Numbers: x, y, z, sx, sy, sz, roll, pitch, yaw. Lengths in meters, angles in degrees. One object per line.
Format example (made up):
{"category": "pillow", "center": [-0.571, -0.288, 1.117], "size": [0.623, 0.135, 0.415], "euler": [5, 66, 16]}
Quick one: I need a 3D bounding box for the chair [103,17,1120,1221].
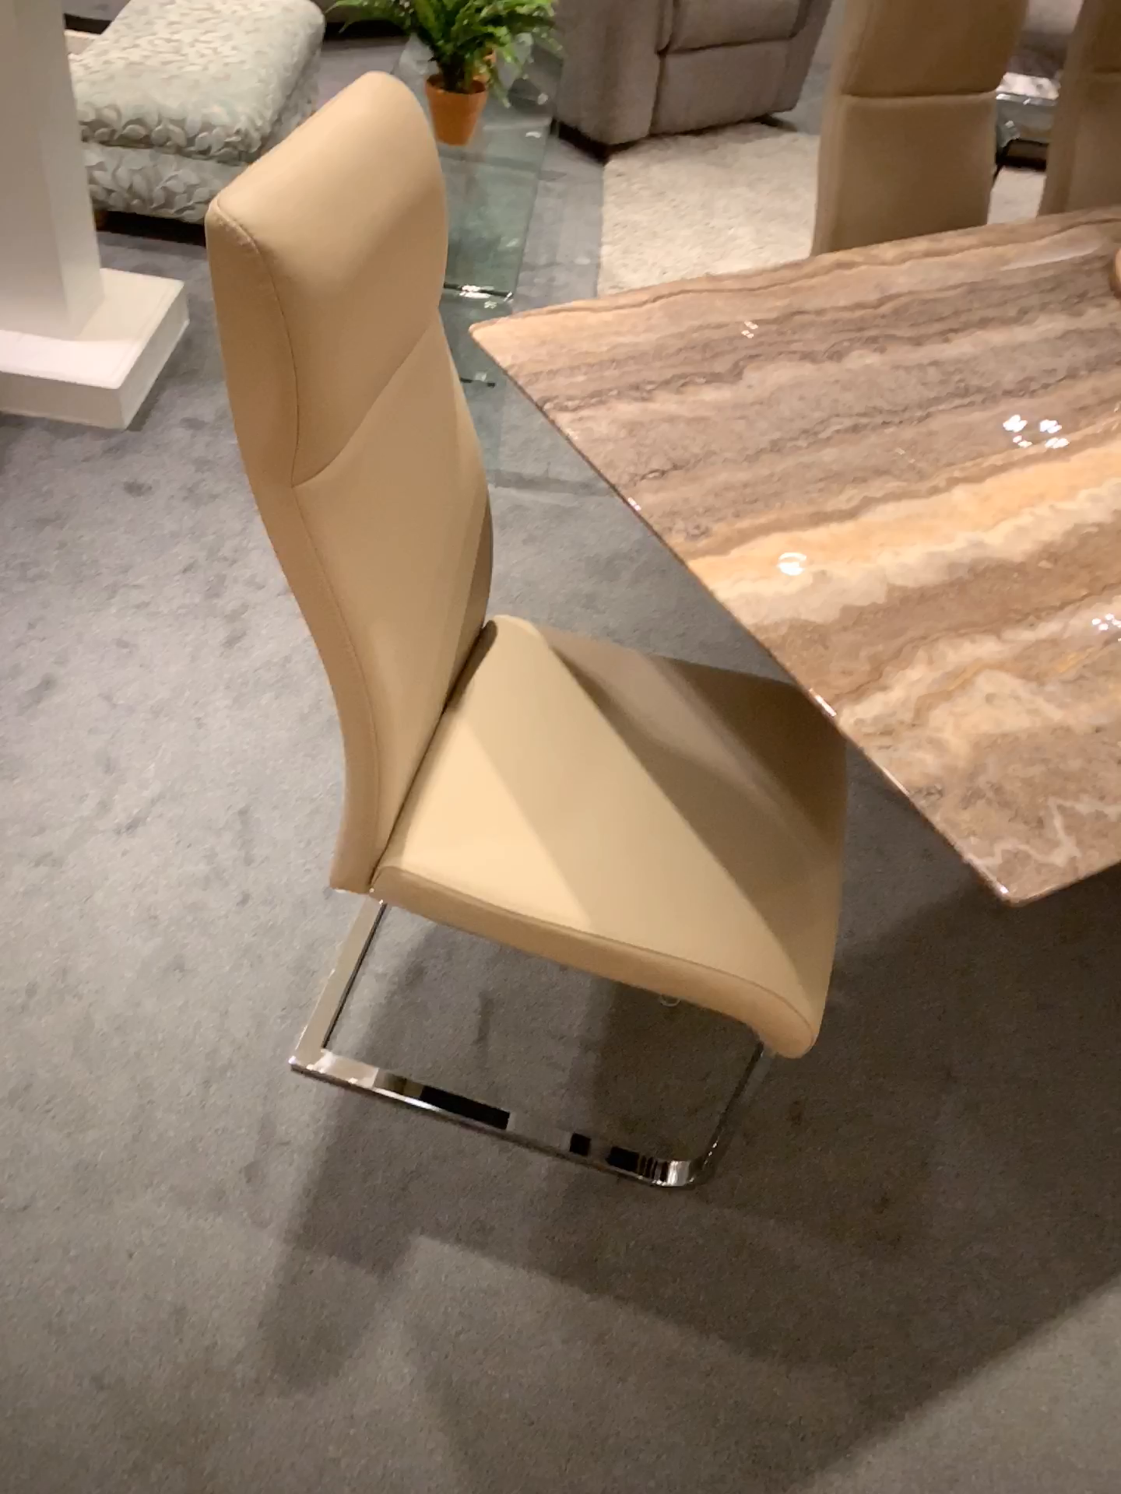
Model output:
{"category": "chair", "center": [0.021, -0.050, 1.151], "size": [0.583, 0.982, 0.532], "euler": [15, 46, 4]}
